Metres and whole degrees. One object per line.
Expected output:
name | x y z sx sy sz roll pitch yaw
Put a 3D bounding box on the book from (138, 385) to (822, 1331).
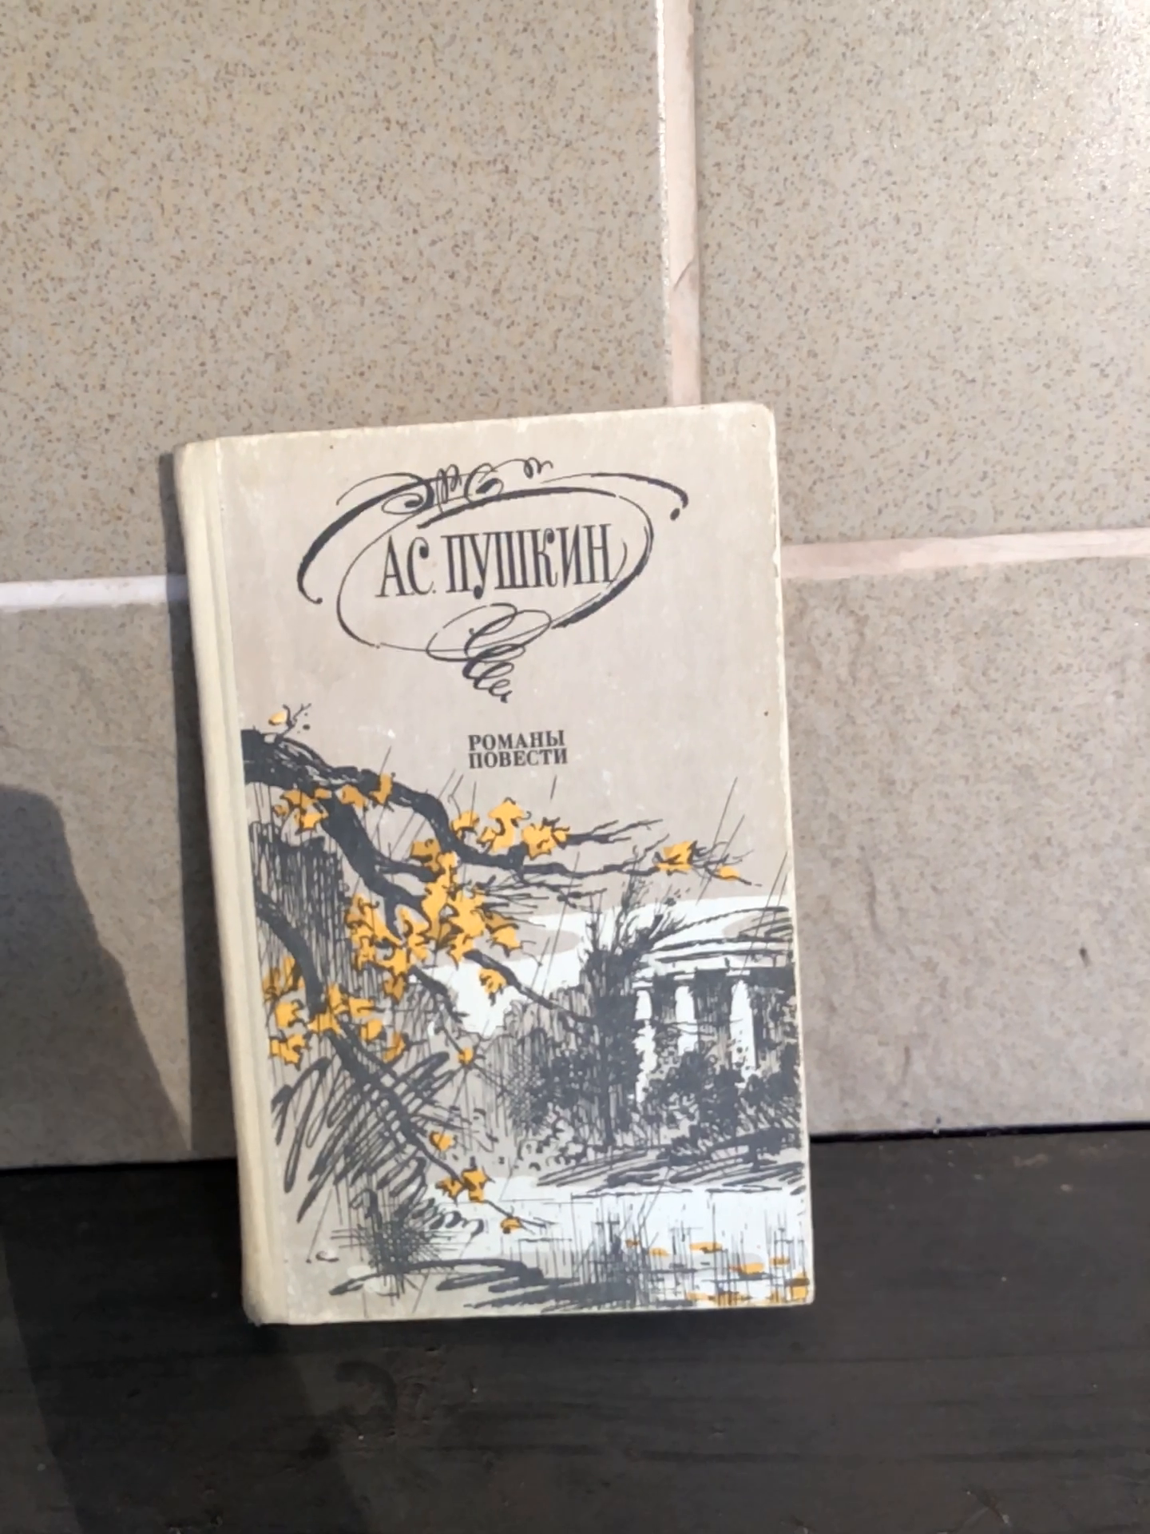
book | -0.016 0.025 0.279 0.130 0.198 0.020 -3 10 3
